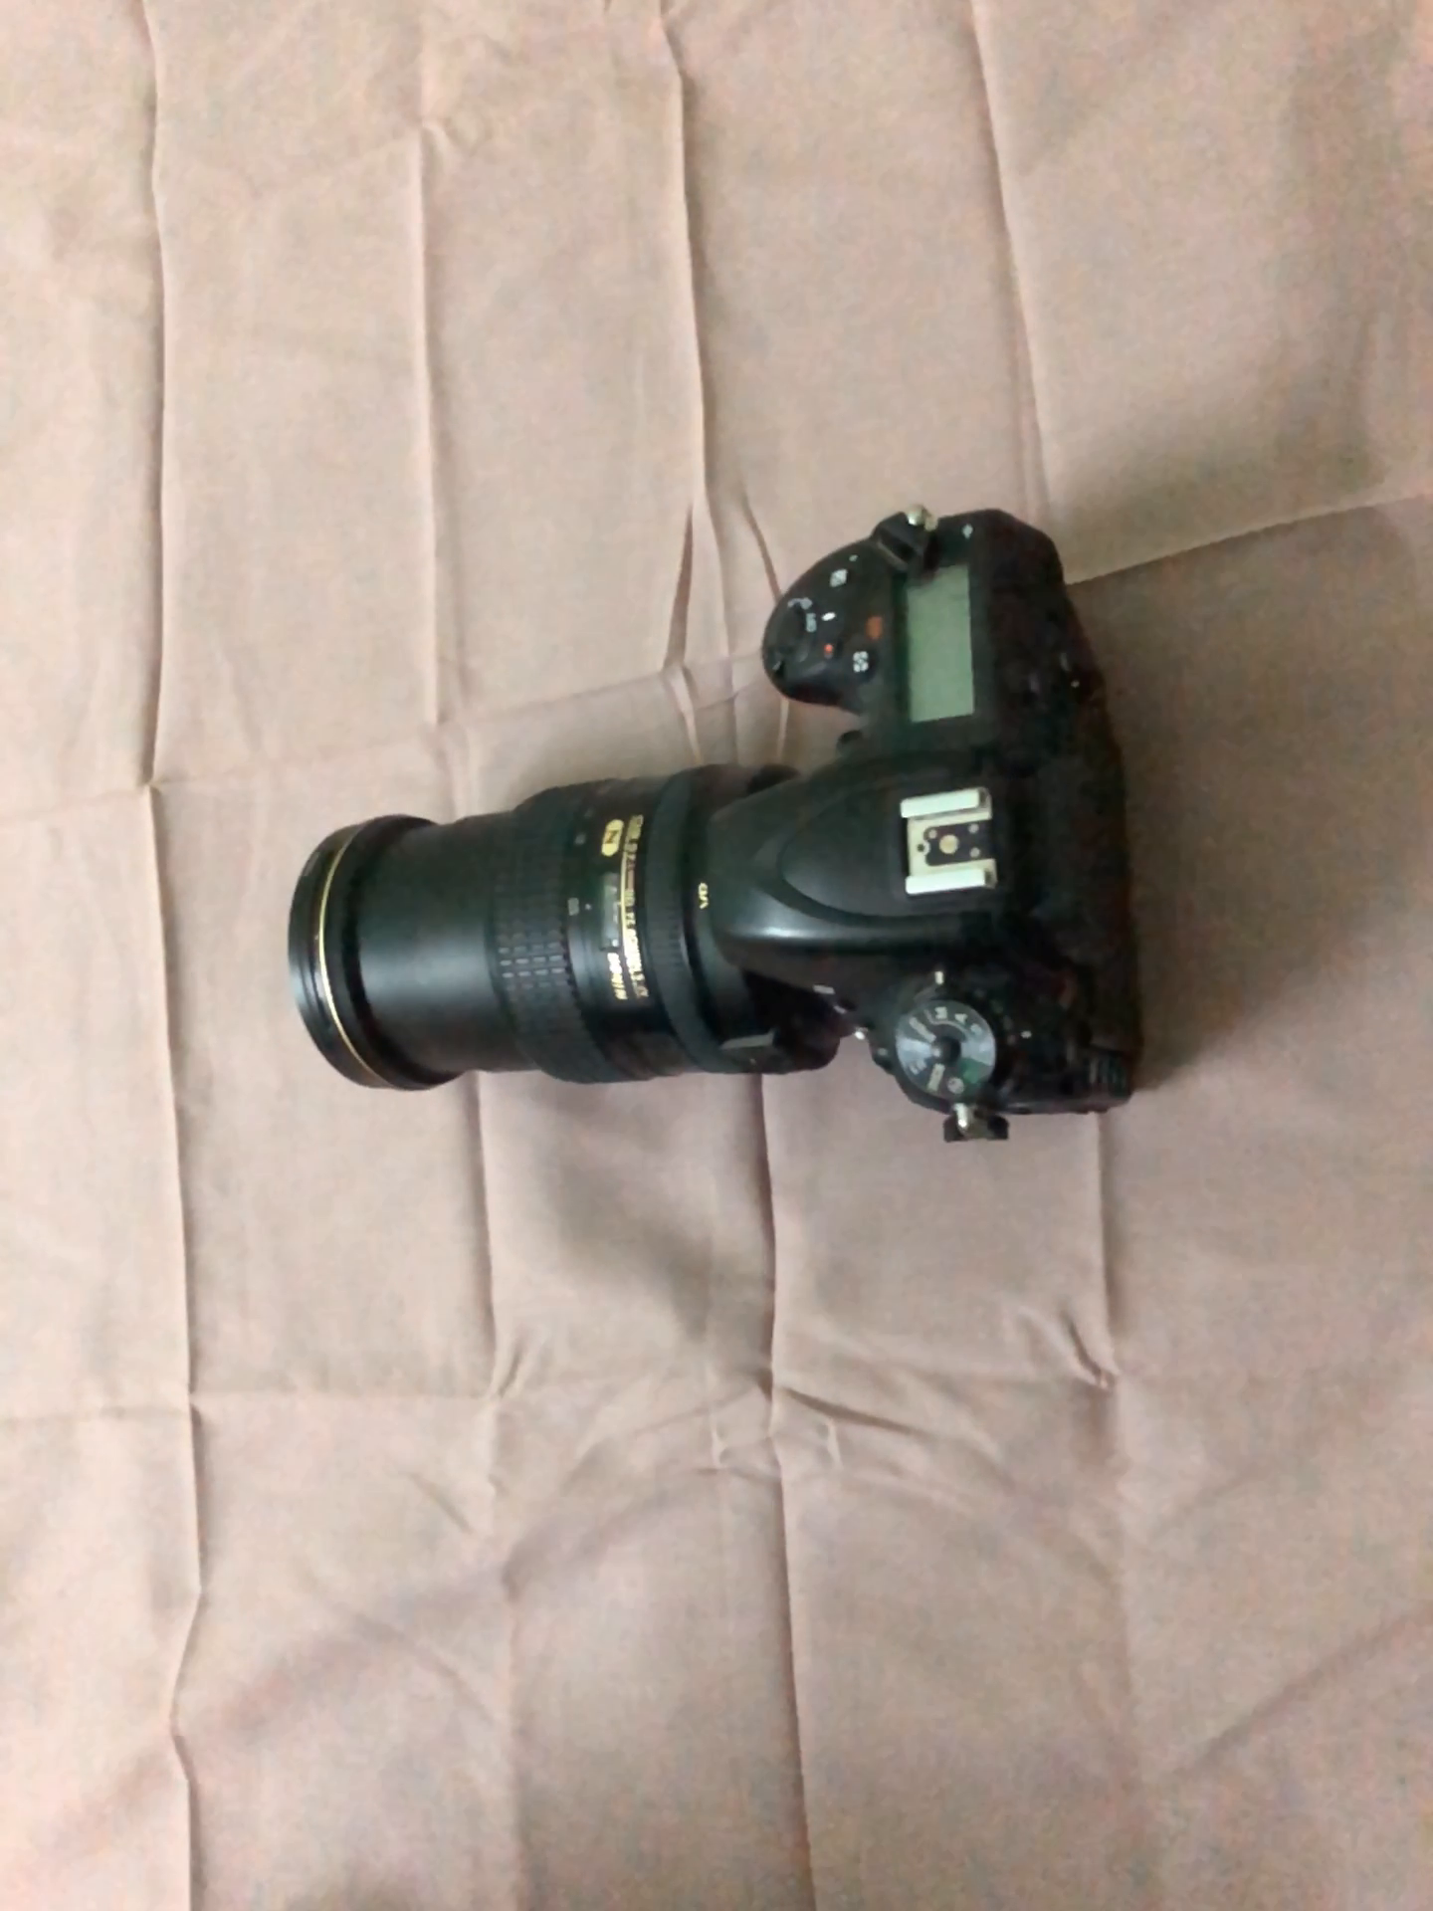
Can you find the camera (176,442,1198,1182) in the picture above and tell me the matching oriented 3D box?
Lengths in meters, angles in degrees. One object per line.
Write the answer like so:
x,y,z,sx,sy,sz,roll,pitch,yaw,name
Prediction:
-0.010,-0.018,0.406,0.232,0.110,0.139,-6,81,24,camera
